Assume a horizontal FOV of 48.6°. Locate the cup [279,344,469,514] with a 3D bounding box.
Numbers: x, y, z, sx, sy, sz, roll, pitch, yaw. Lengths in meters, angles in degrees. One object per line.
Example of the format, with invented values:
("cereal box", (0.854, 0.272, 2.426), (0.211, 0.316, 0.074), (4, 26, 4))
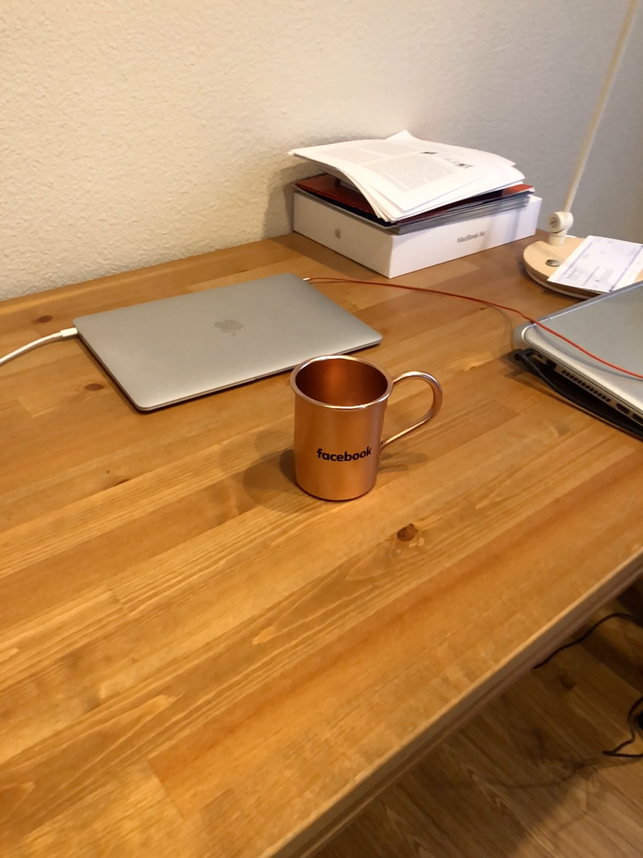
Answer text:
("cup", (0.035, -0.002, 0.566), (0.130, 0.100, 0.080), (-3, 35, -8))
